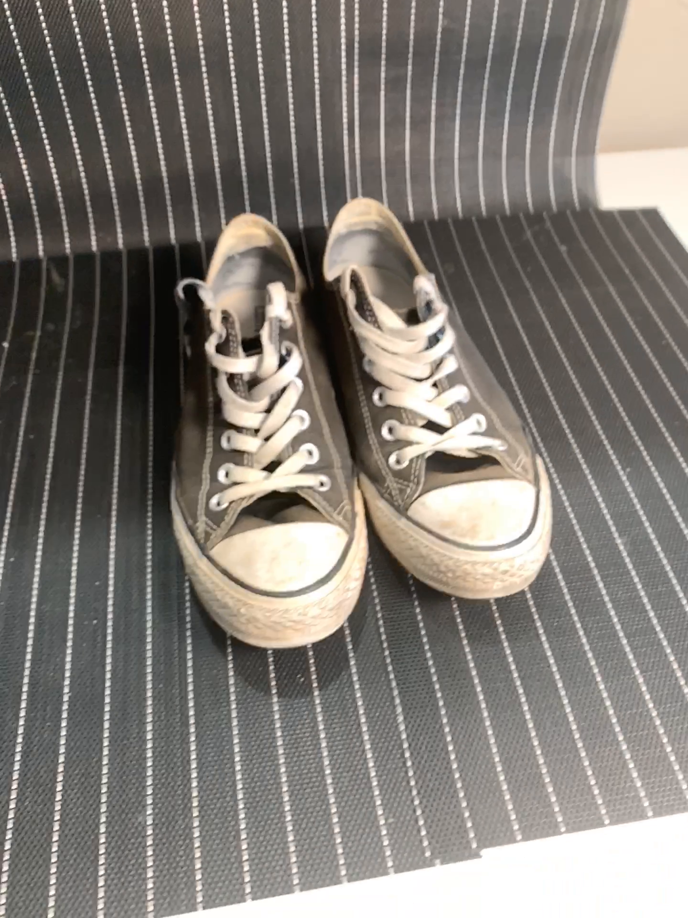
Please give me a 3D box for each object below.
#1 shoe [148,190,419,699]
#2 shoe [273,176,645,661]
[{"bbox_3d":[-0.048,-0.032,0.411,0.110,0.080,0.301,-7,52,-6],"label":"shoe"},{"bbox_3d":[0.043,-0.048,0.429,0.110,0.080,0.301,-11,53,-9],"label":"shoe"}]
